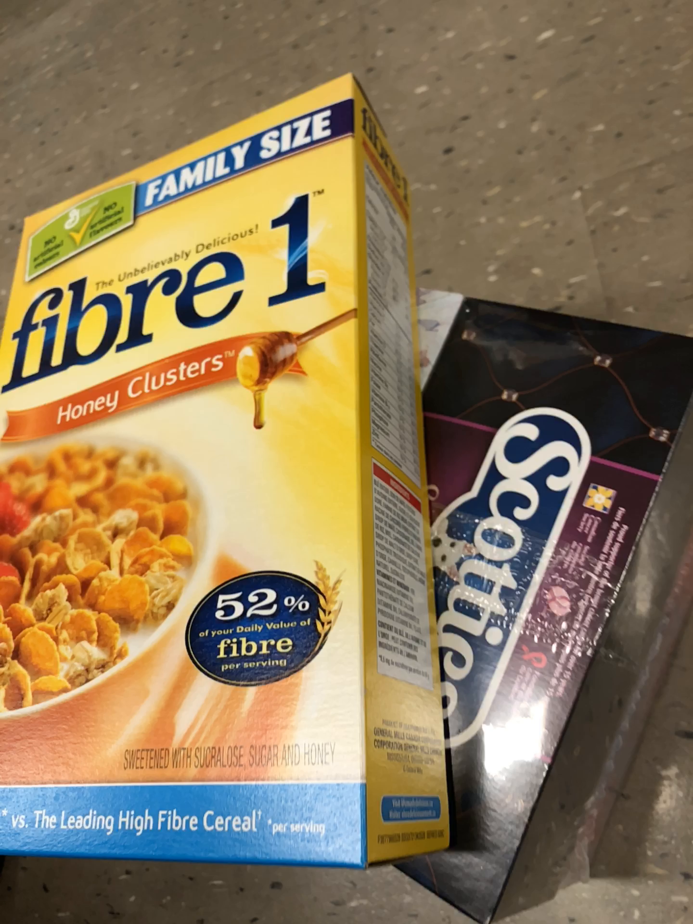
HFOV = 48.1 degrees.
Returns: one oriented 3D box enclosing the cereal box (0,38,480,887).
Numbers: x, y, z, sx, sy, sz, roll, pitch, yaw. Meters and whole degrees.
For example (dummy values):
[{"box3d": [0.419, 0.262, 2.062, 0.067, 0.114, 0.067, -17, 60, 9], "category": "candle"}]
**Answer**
[{"box3d": [-0.063, -0.003, 0.338, 0.201, 0.080, 0.320, -12, 62, 24], "category": "cereal box"}]
